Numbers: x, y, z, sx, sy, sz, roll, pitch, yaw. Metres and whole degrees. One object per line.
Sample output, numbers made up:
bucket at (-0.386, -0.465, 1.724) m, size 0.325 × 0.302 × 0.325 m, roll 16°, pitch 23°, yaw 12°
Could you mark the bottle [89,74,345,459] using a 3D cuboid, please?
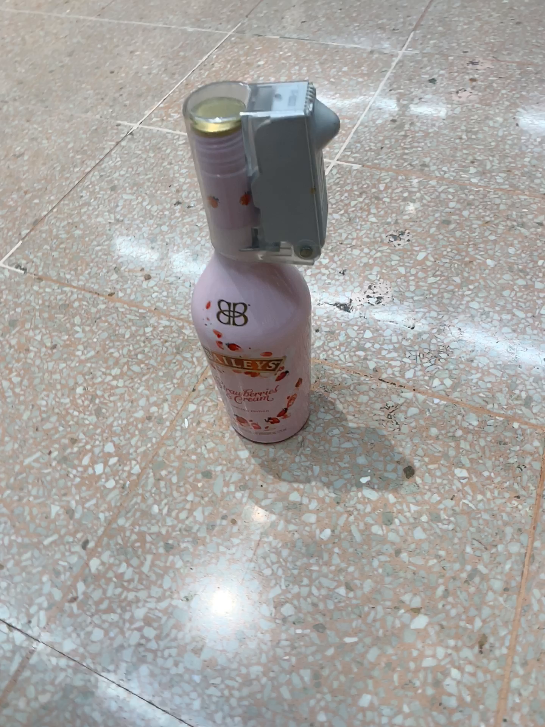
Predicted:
bottle at (-0.012, -0.040, 0.364) m, size 0.103 × 0.254 × 0.073 m, roll 11°, pitch 55°, yaw 14°
